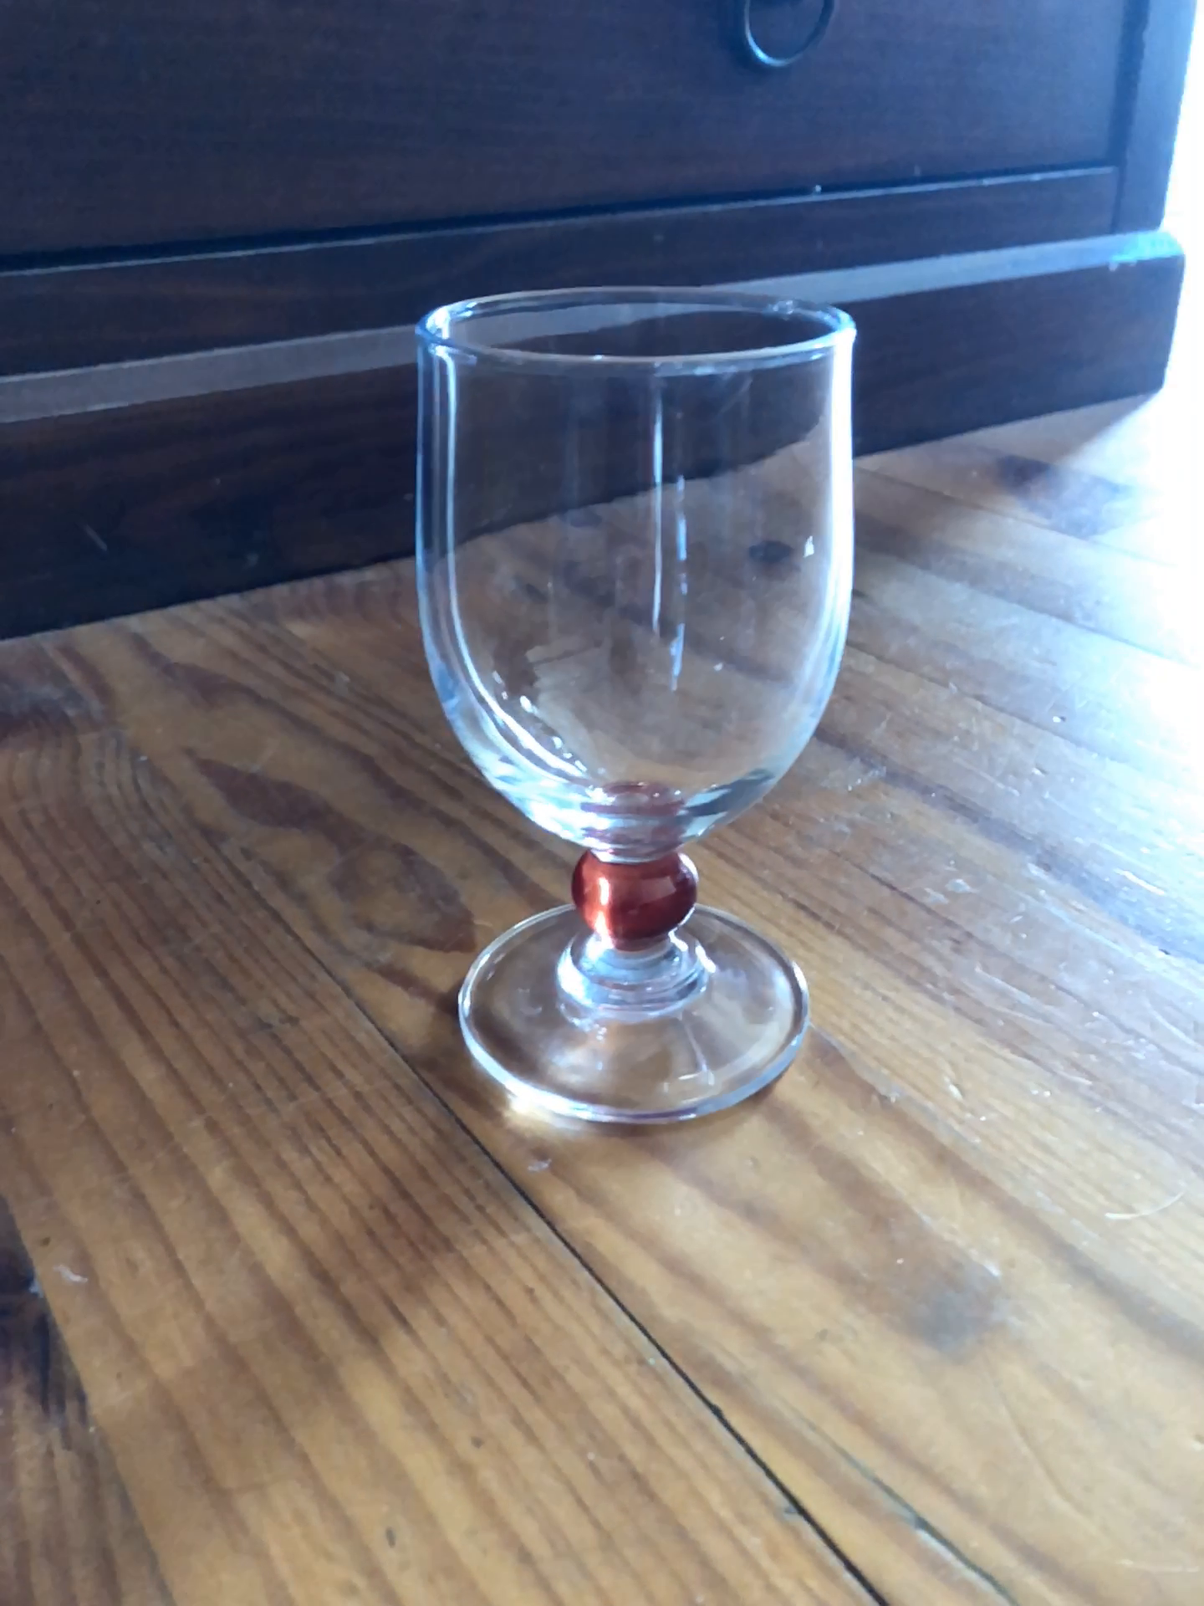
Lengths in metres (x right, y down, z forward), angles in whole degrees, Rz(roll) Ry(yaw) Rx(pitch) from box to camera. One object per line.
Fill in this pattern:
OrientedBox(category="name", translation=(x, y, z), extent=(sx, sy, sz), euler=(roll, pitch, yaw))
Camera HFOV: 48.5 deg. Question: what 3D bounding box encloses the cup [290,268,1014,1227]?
OrientedBox(category="cup", translation=(0.003, -0.016, 0.236), extent=(0.084, 0.132, 0.088), euler=(-1, 29, 1))
